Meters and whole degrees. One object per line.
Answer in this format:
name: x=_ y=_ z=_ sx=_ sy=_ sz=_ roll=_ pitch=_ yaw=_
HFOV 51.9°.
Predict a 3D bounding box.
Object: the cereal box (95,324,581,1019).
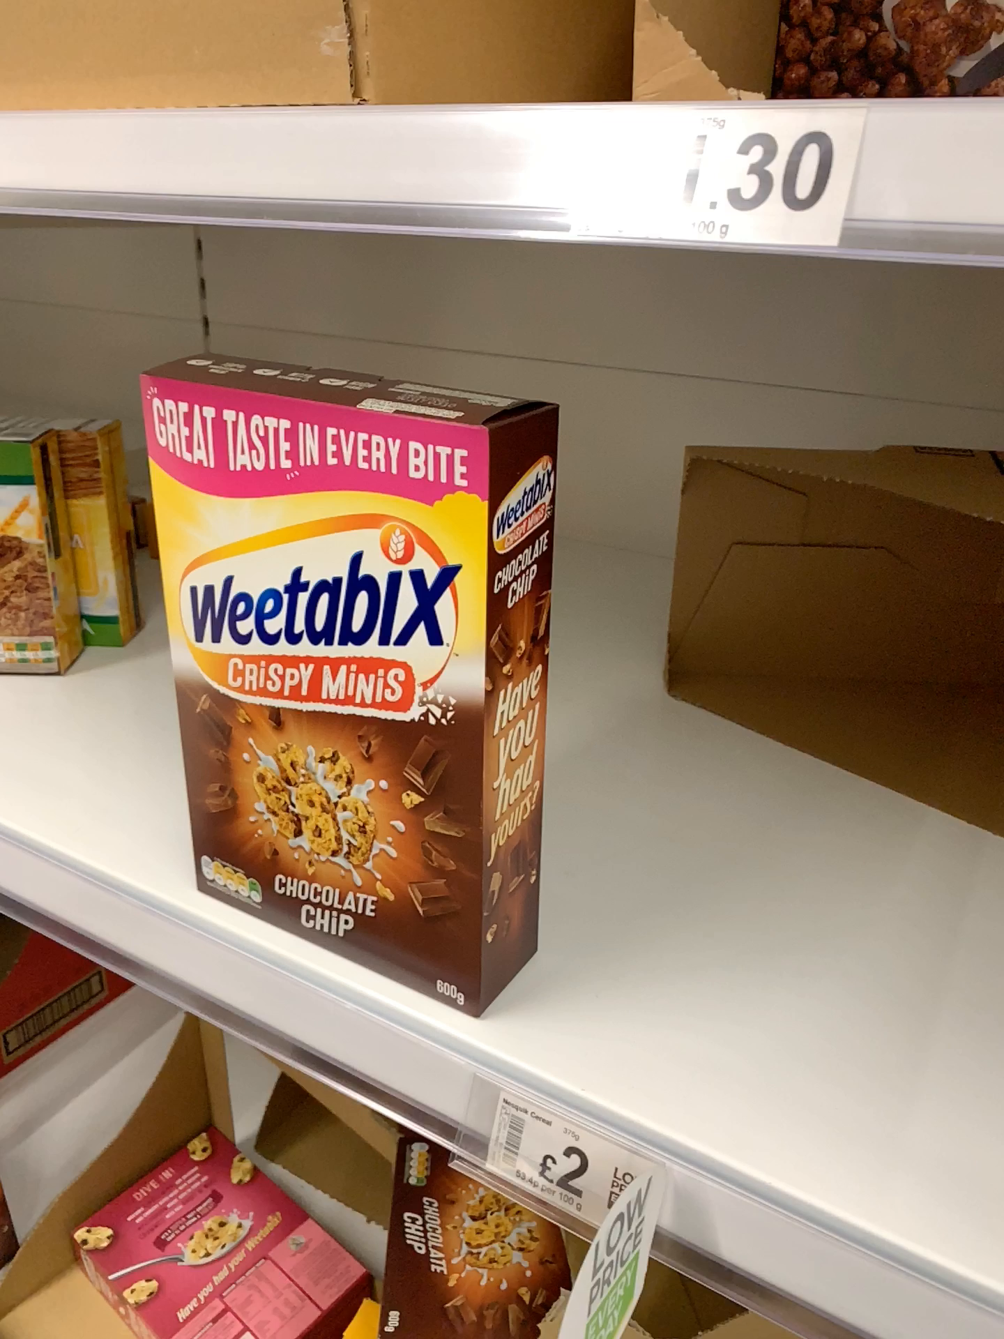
cereal box: x=-0.079 y=-0.005 z=0.502 sx=0.210 sy=0.288 sz=0.070 roll=15 pitch=28 yaw=28
